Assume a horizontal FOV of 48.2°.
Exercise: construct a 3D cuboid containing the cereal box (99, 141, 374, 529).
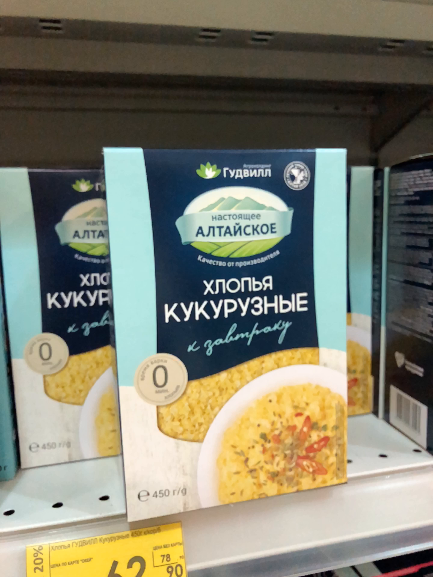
[{"bbox_3d":[0.012,0.018,0.279,0.140,0.190,0.060,-4,7,-15],"label":"cereal box"}]
